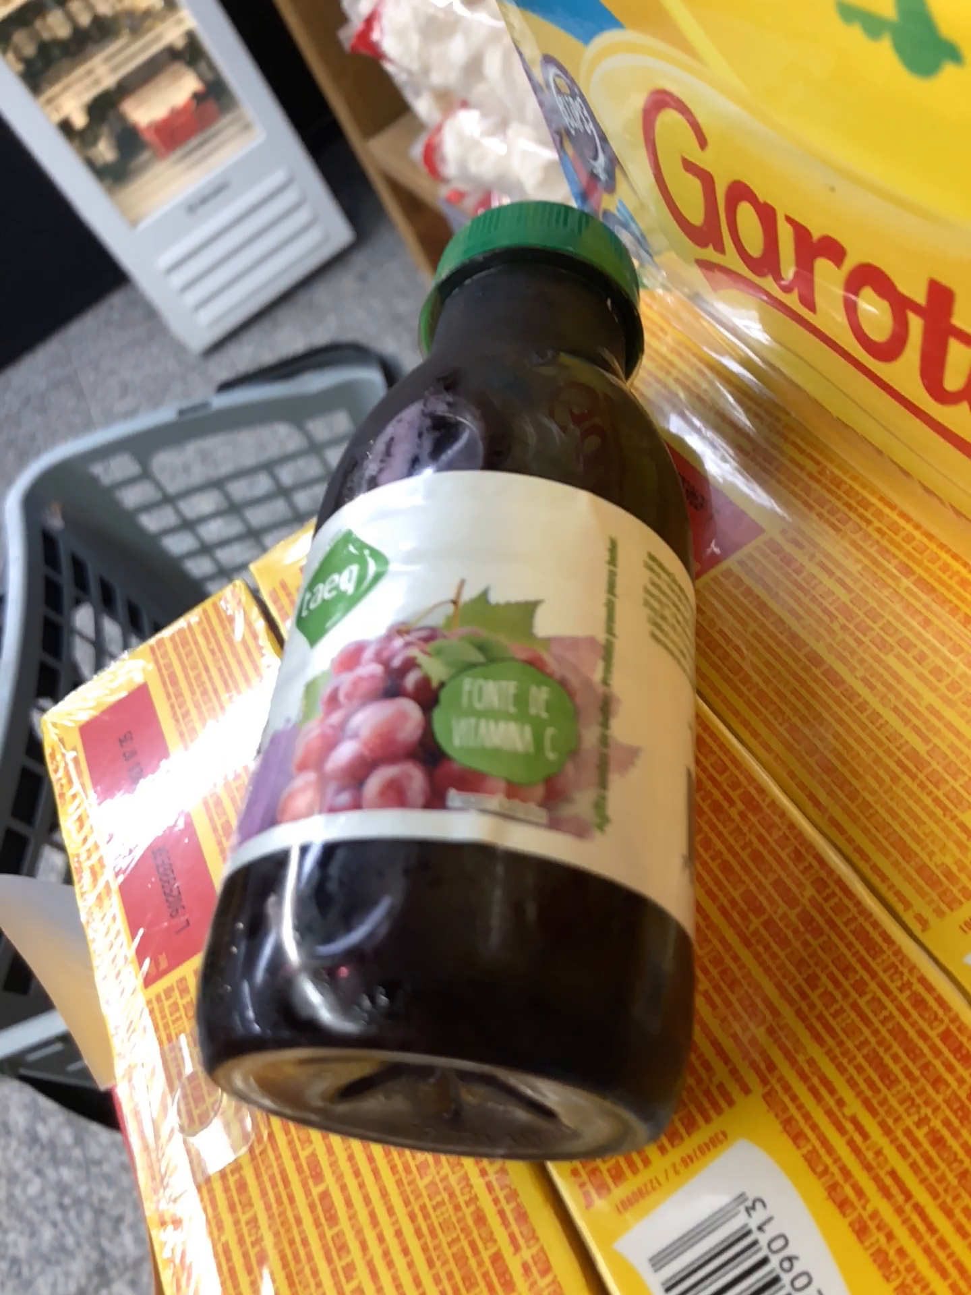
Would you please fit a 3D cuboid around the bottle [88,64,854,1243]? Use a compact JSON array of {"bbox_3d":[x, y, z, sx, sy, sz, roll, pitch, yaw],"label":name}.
[{"bbox_3d":[0.011,-0.011,0.168,0.070,0.050,0.171,-9,51,23],"label":"bottle"}]
